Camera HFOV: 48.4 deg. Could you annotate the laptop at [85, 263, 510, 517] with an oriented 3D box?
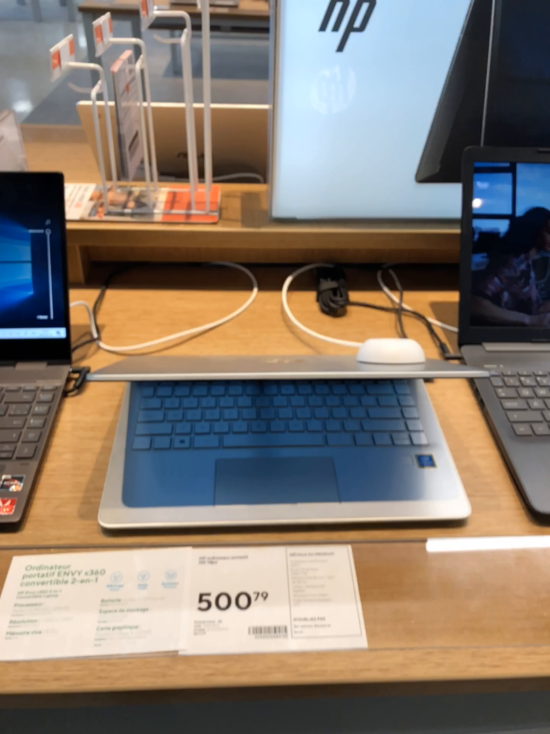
[{"bbox_3d":[0.012,0.009,0.568,0.314,0.110,0.217,-1,40,-3],"label":"laptop"}]
